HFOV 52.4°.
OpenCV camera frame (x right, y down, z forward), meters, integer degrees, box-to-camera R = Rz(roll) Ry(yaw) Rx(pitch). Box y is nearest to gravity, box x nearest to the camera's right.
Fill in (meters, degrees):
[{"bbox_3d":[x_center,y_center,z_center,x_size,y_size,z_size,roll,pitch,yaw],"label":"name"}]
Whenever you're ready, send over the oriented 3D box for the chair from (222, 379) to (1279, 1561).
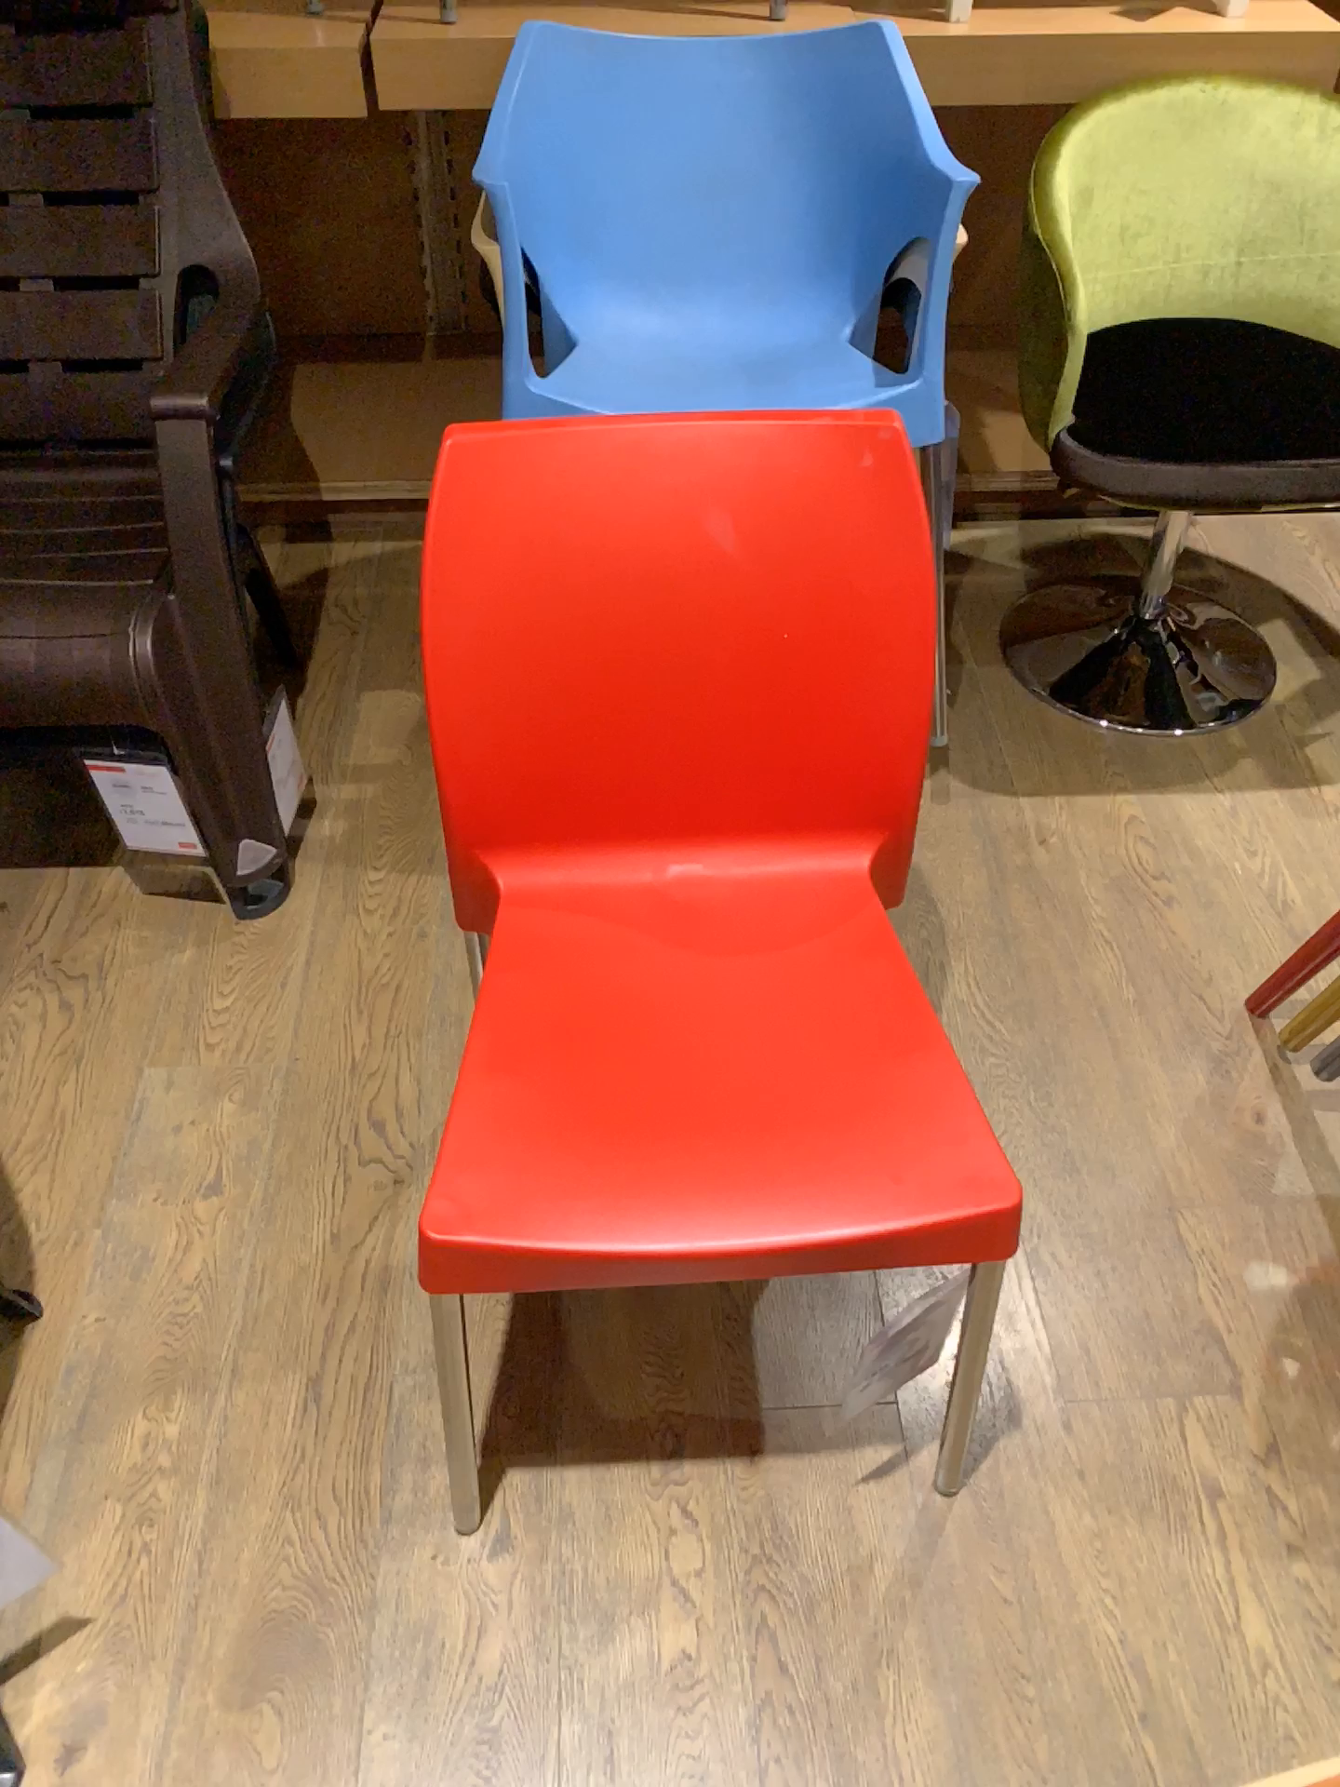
[{"bbox_3d":[0.019,0.089,1.151,0.520,0.787,0.592,-4,45,-4],"label":"chair"}]
